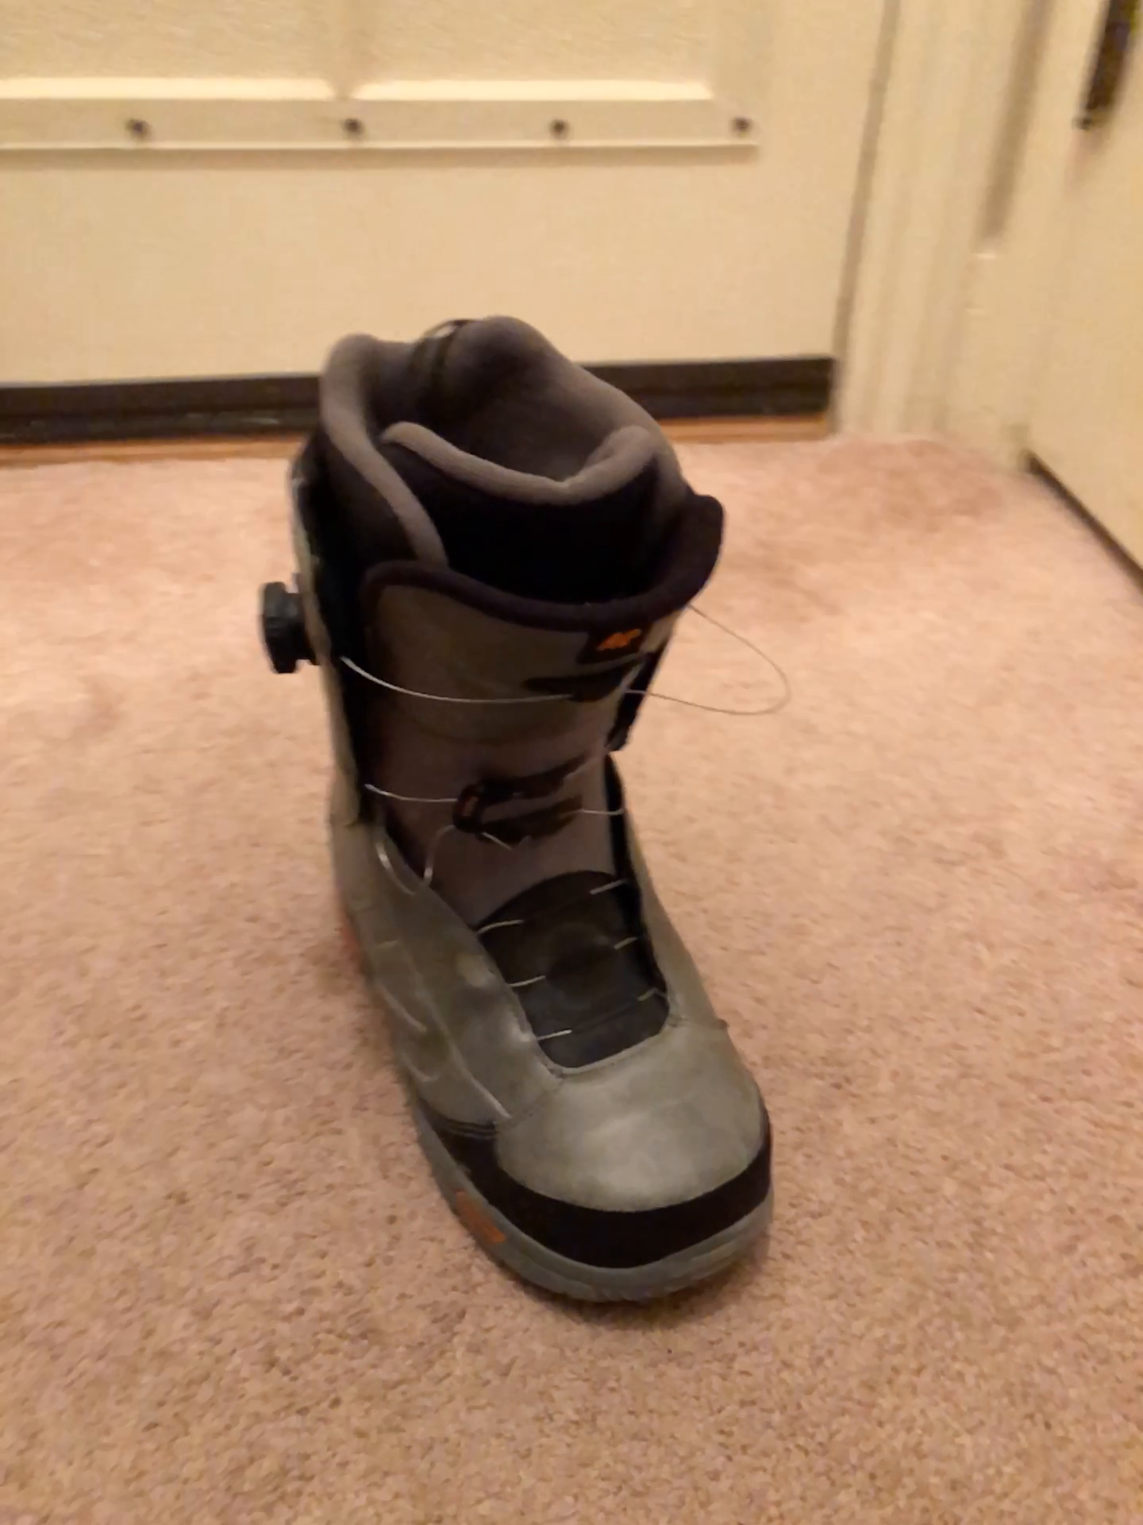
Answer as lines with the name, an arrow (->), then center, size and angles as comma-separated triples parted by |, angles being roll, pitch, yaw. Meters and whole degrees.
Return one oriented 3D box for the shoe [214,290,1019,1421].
shoe -> -0.013, 0.019, 0.464 | 0.137, 0.281, 0.274 | -14, 41, -19
